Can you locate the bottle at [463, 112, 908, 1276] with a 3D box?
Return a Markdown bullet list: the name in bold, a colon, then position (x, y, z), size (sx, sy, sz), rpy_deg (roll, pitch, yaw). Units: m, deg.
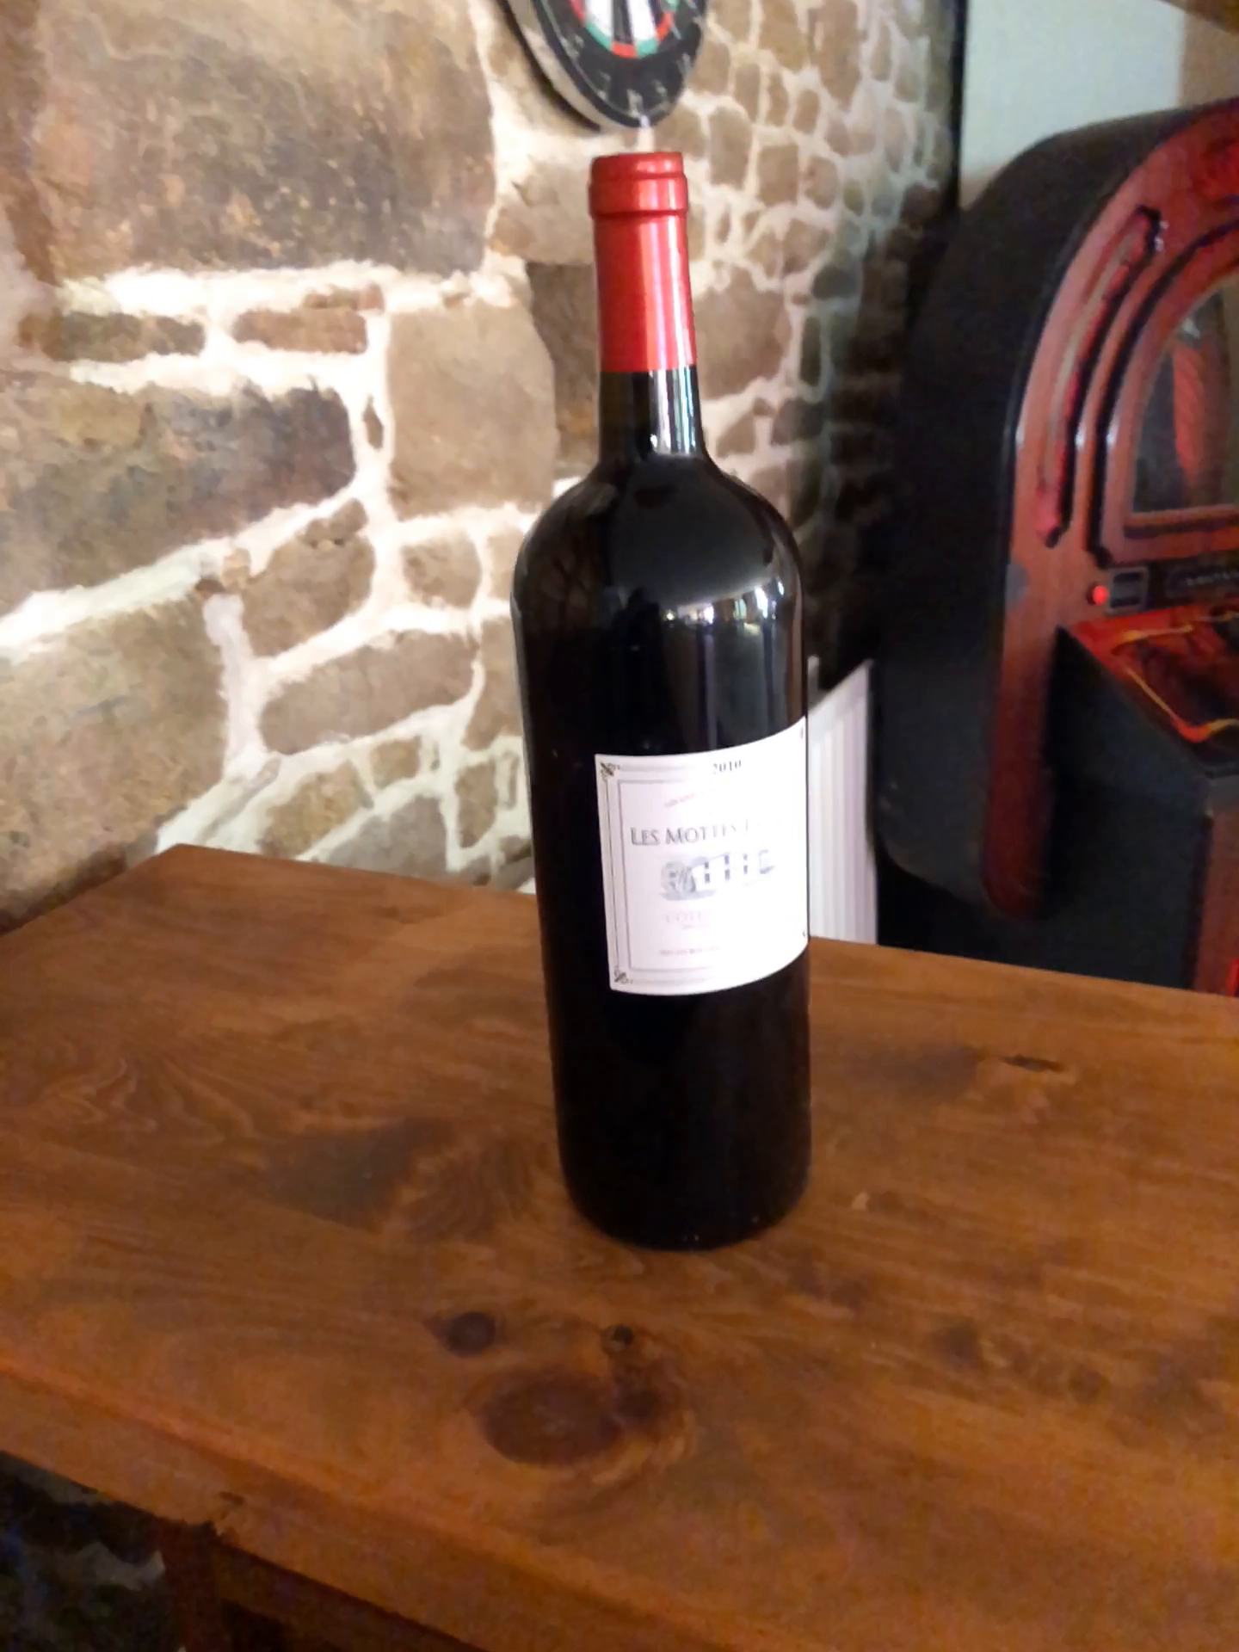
- **bottle**: position (0.023, -0.036, 0.454), size (0.100, 0.348, 0.100), rpy_deg (-3, 21, 1)
